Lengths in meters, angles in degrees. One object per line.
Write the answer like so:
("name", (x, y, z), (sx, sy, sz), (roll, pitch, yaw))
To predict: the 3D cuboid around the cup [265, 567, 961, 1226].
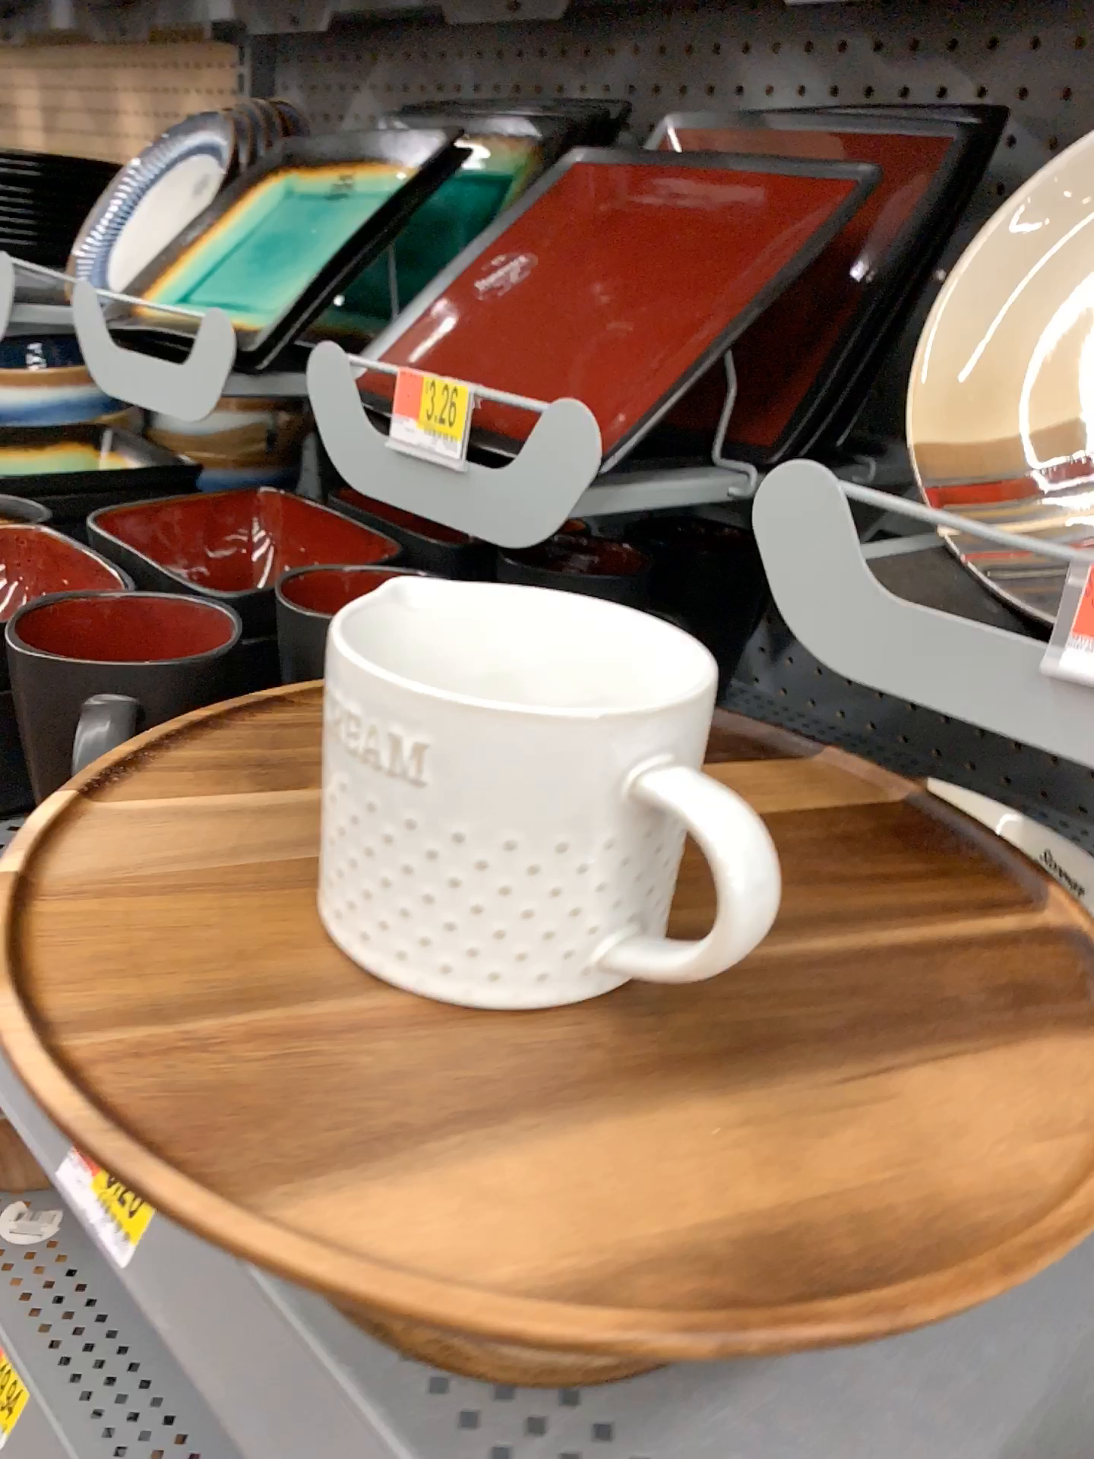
("cup", (0.006, 0.026, 0.301), (0.100, 0.090, 0.150), (-12, 30, -37))
